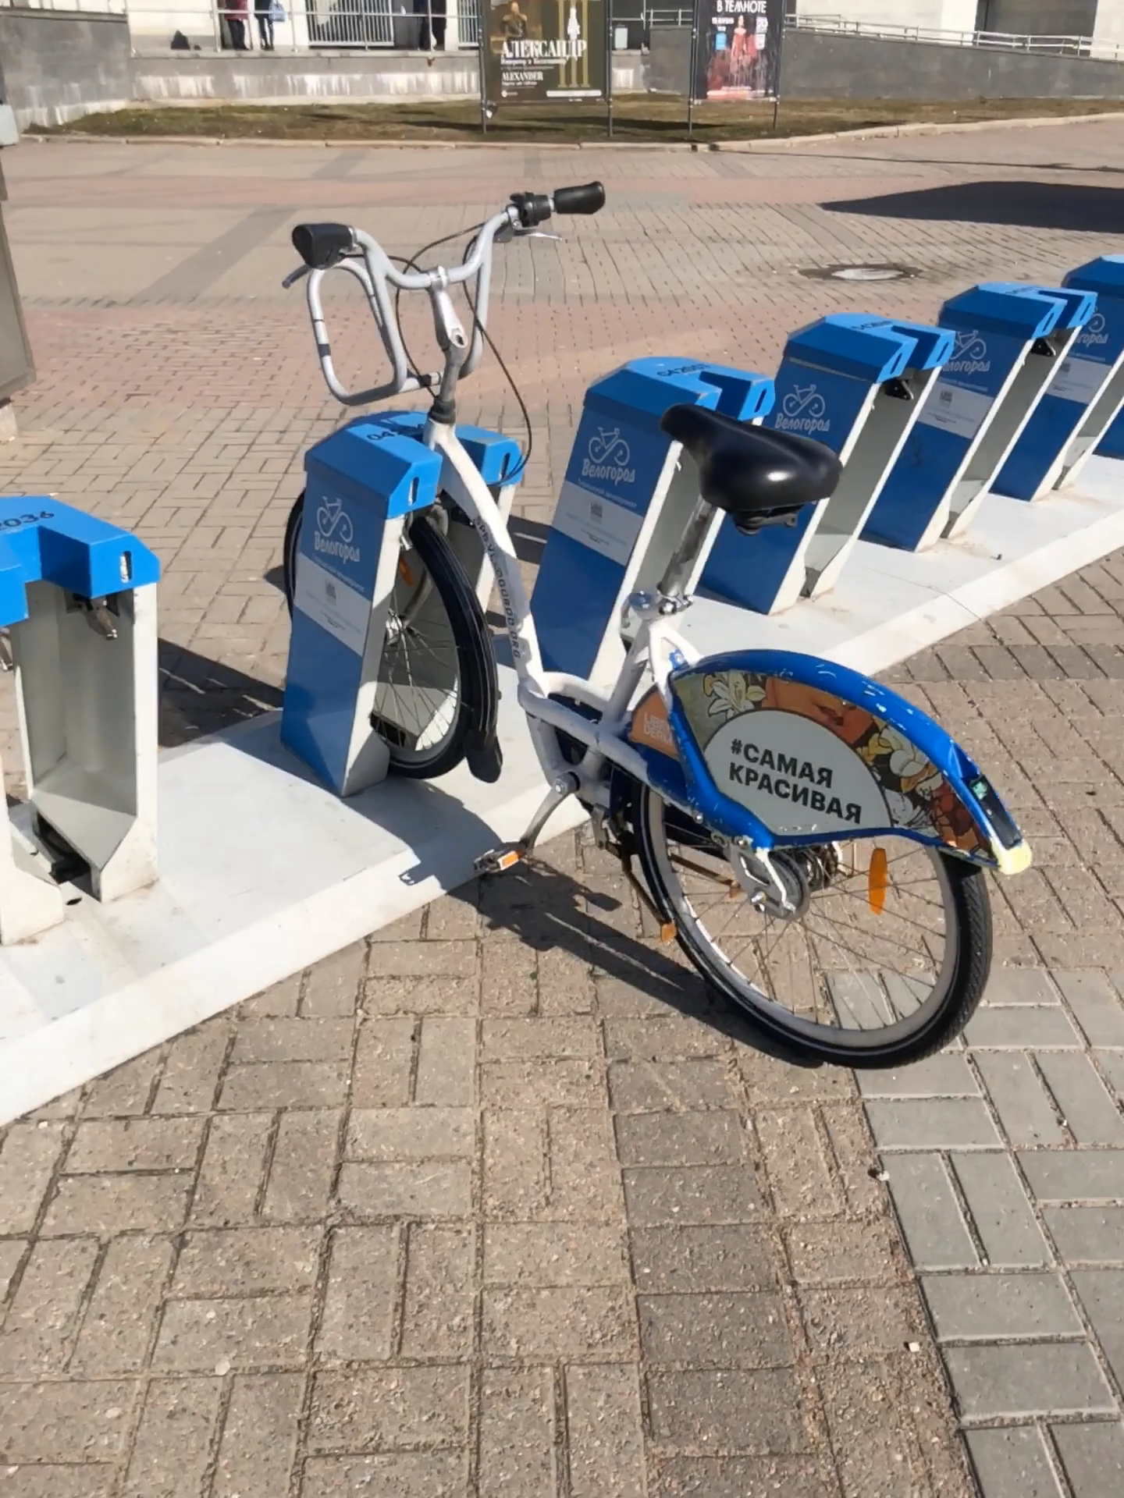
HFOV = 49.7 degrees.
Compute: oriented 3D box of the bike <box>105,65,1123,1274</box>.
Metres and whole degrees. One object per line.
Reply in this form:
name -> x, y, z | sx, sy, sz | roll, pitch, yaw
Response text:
bike -> 0.024, -0.316, 1.971 | 0.597, 1.203, 1.631 | -25, 41, -37
